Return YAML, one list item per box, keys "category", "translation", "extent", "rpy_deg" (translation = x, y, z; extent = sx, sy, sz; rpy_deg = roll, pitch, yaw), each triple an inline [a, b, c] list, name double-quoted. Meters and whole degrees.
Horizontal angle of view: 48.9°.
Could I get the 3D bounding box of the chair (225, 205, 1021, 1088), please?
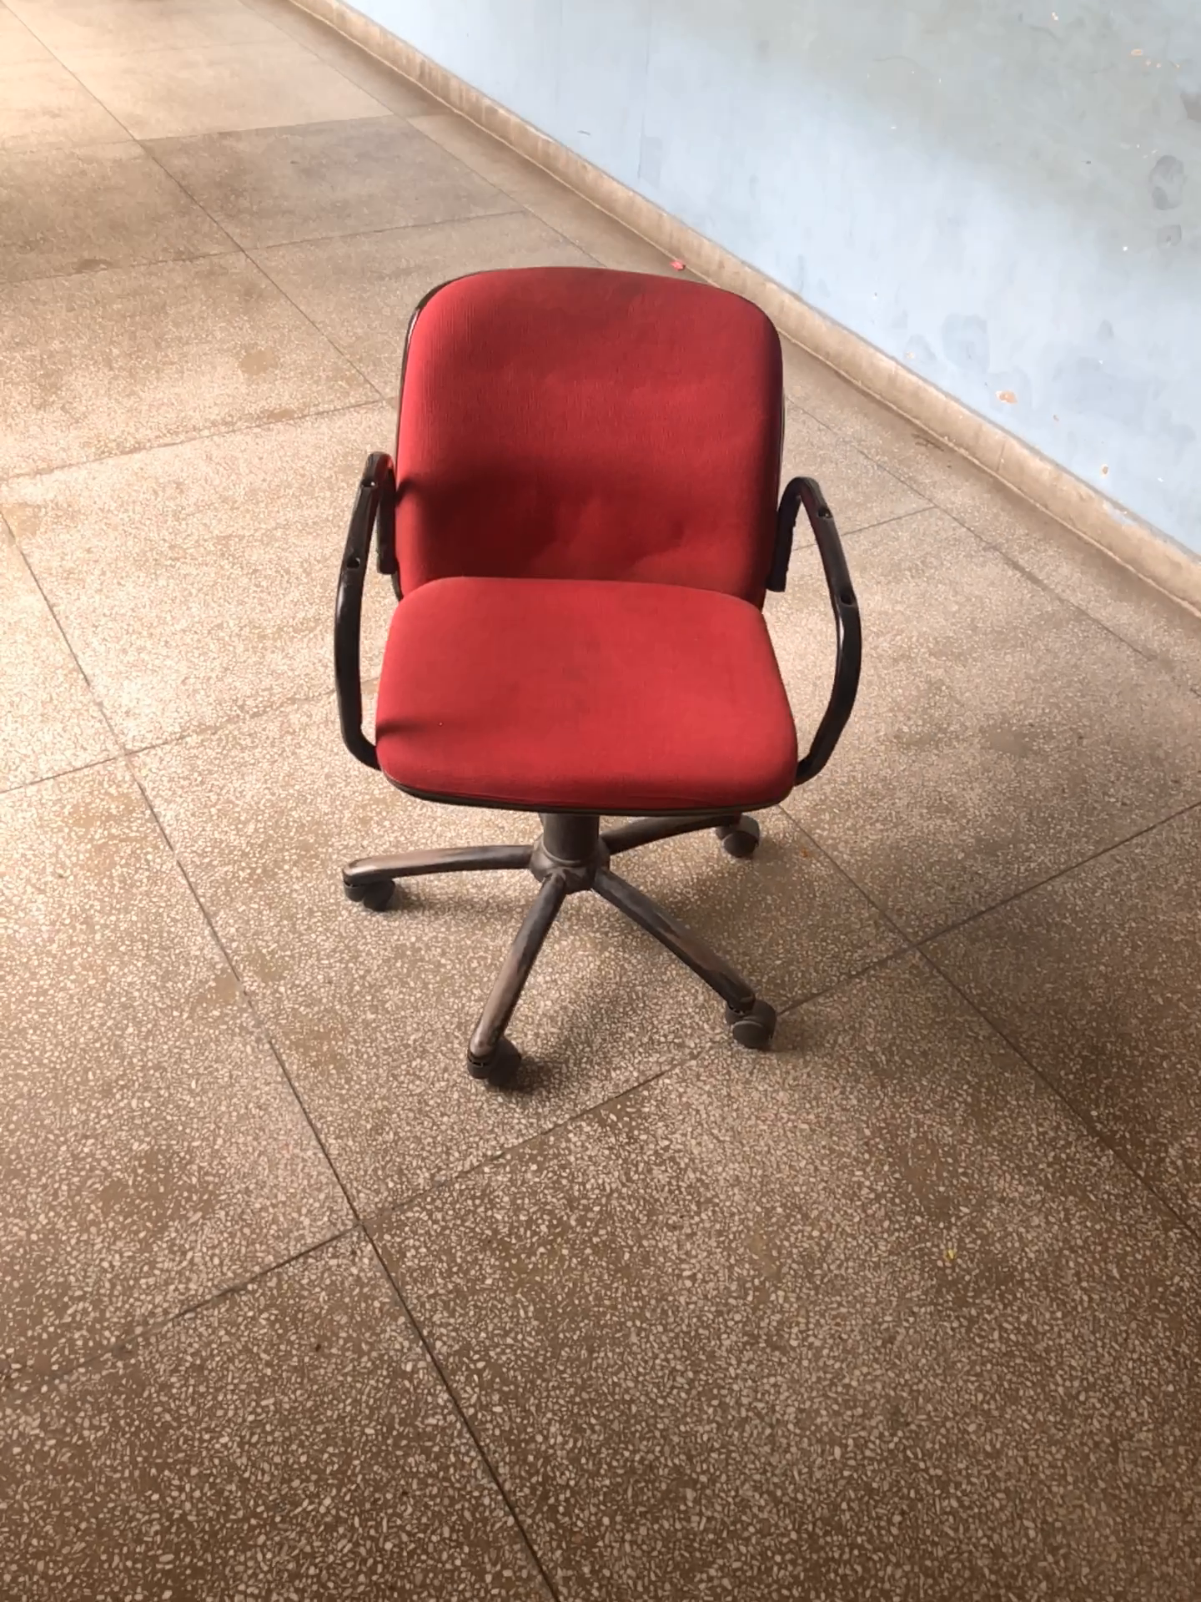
- category: "chair"
  translation: [-0.023, -0.166, 1.575]
  extent: [0.650, 0.797, 0.642]
  rpy_deg: [0, 43, -6]
